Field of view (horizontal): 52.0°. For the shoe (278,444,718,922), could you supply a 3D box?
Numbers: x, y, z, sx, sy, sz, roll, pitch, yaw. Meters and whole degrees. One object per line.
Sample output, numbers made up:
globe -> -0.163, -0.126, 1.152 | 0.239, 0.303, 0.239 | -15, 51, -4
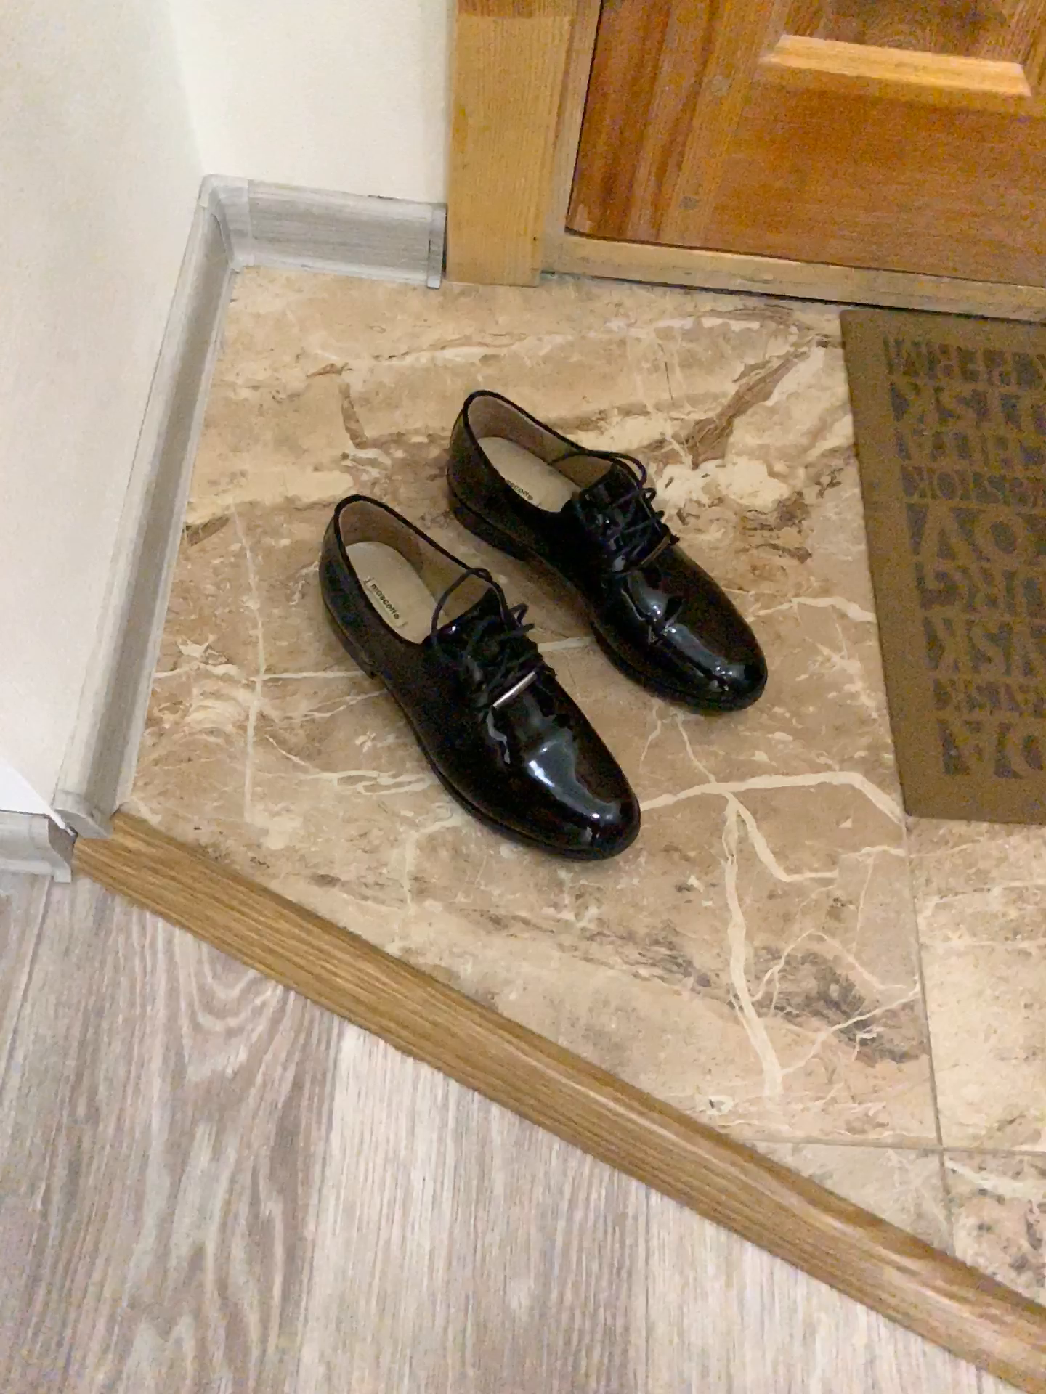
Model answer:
shoe -> -0.021, -0.006, 0.576 | 0.086, 0.110, 0.230 | -38, 74, -20

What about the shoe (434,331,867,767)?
shoe -> 0.062, -0.085, 0.626 | 0.230, 0.110, 0.090 | 42, 68, 13
